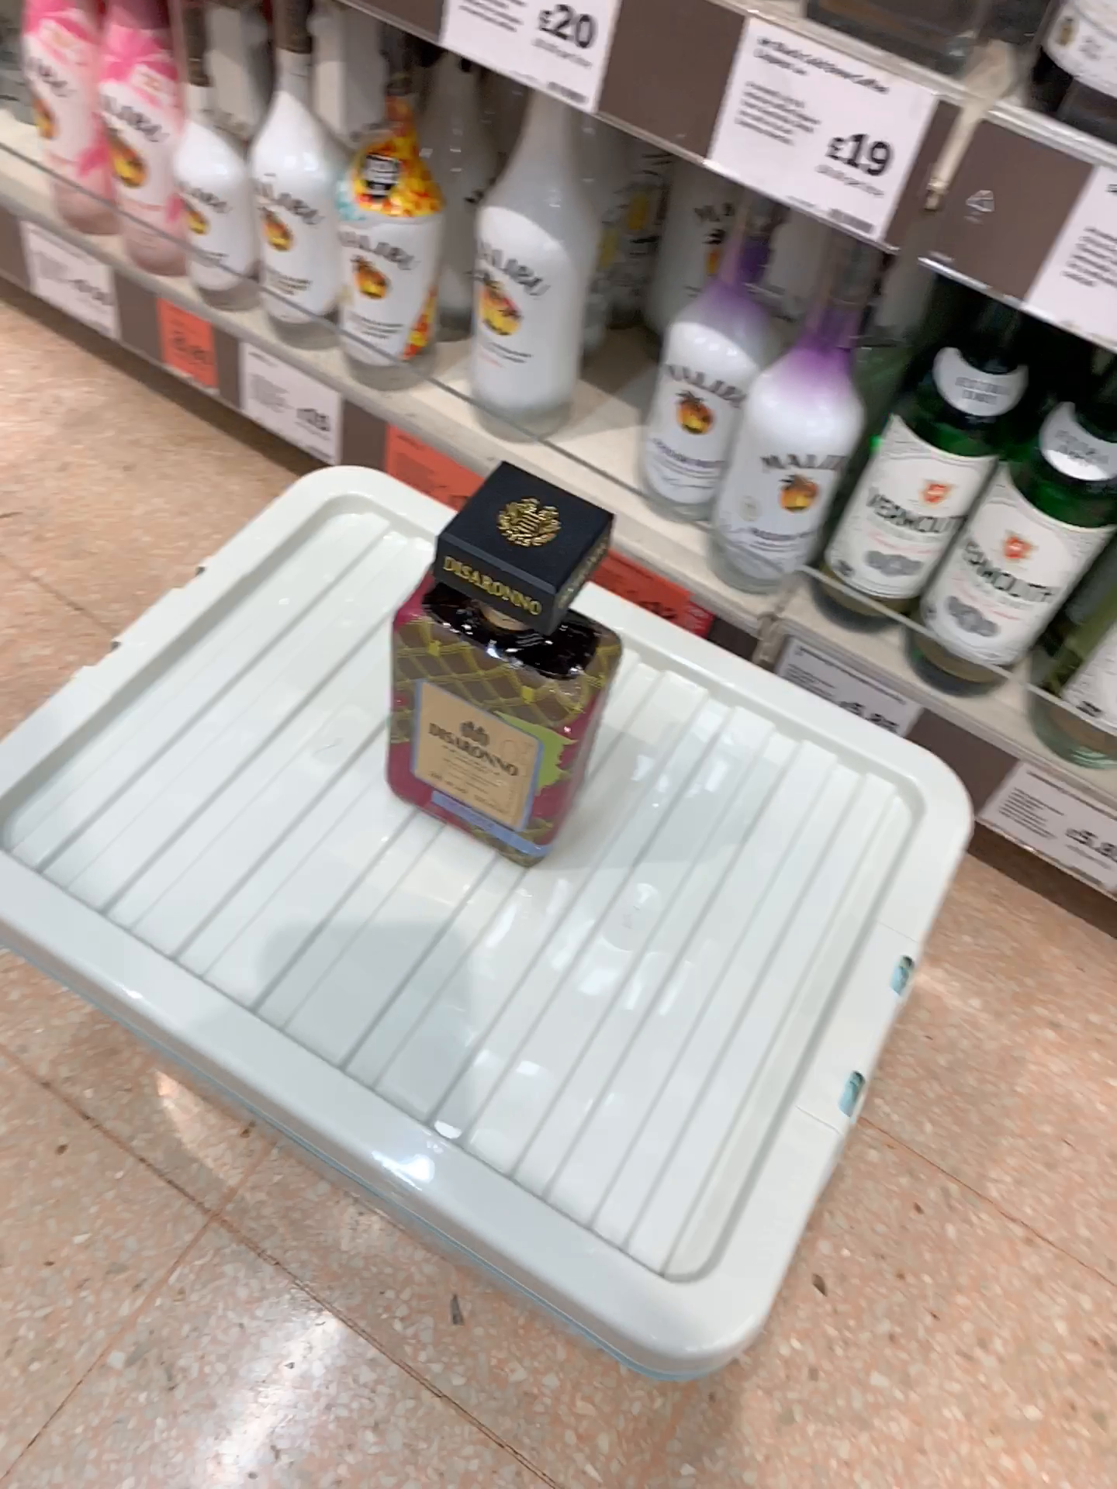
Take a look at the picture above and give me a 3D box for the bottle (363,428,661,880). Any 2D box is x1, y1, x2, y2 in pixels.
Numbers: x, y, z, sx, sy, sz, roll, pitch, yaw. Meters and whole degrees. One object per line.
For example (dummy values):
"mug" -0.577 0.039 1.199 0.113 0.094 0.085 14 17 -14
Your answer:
"bottle" -0.030 -0.031 0.527 0.100 0.199 0.060 28 56 11
